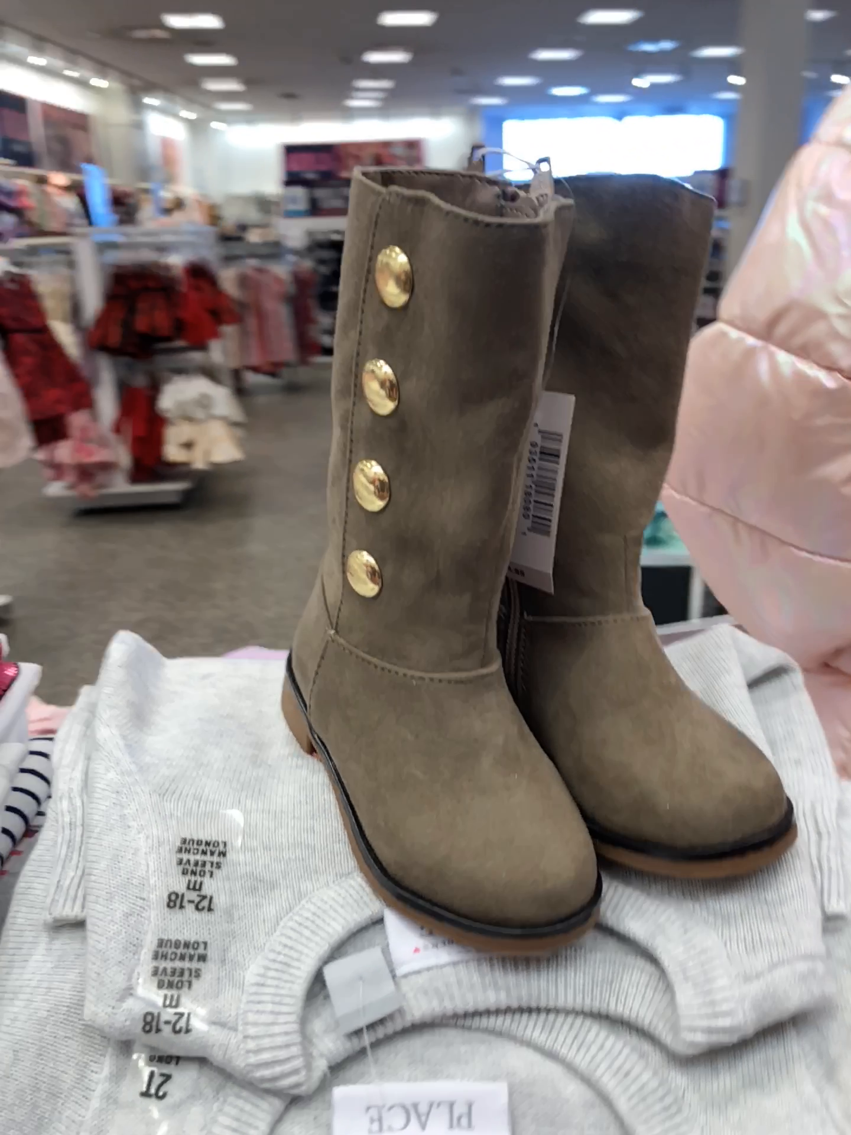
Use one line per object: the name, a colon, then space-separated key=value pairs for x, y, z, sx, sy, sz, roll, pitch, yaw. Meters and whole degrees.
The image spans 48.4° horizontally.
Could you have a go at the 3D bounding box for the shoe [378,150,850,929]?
shoe: x=0.053 y=-0.021 z=0.291 sx=0.070 sy=0.184 sz=0.148 roll=-11 pitch=21 yaw=-26

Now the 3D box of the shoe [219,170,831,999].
shoe: x=0.004 y=-0.011 z=0.260 sx=0.070 sy=0.164 sz=0.155 roll=-11 pitch=32 yaw=-26
